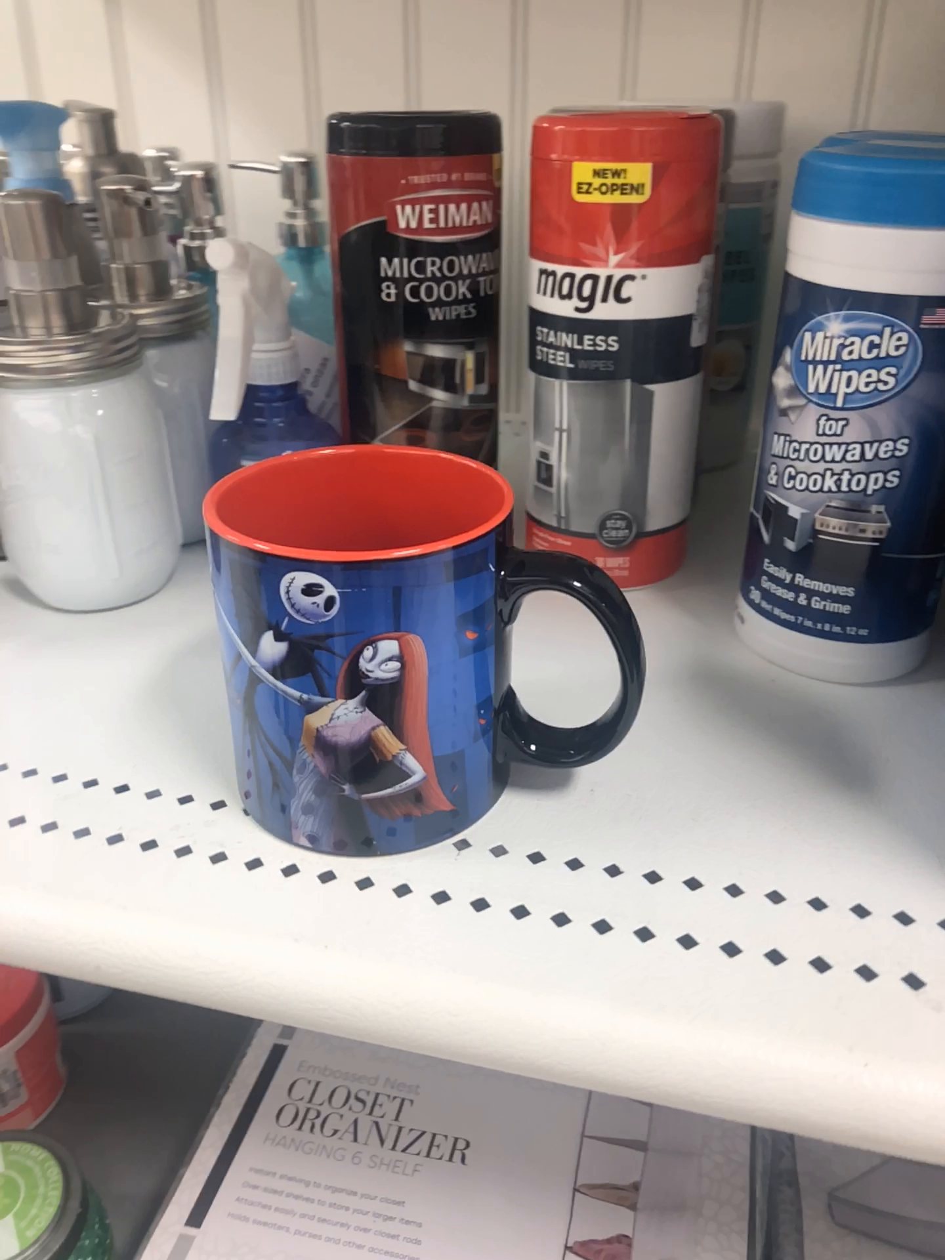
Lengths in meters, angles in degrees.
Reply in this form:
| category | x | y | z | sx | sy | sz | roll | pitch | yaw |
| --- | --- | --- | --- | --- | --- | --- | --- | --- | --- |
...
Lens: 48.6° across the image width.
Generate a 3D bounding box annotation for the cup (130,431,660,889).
| category | x | y | z | sx | sy | sz | roll | pitch | yaw |
| --- | --- | --- | --- | --- | --- | --- | --- | --- | --- |
| cup | -0.015 | 0.002 | 0.358 | 0.147 | 0.103 | 0.113 | 4 | 28 | 8 |
